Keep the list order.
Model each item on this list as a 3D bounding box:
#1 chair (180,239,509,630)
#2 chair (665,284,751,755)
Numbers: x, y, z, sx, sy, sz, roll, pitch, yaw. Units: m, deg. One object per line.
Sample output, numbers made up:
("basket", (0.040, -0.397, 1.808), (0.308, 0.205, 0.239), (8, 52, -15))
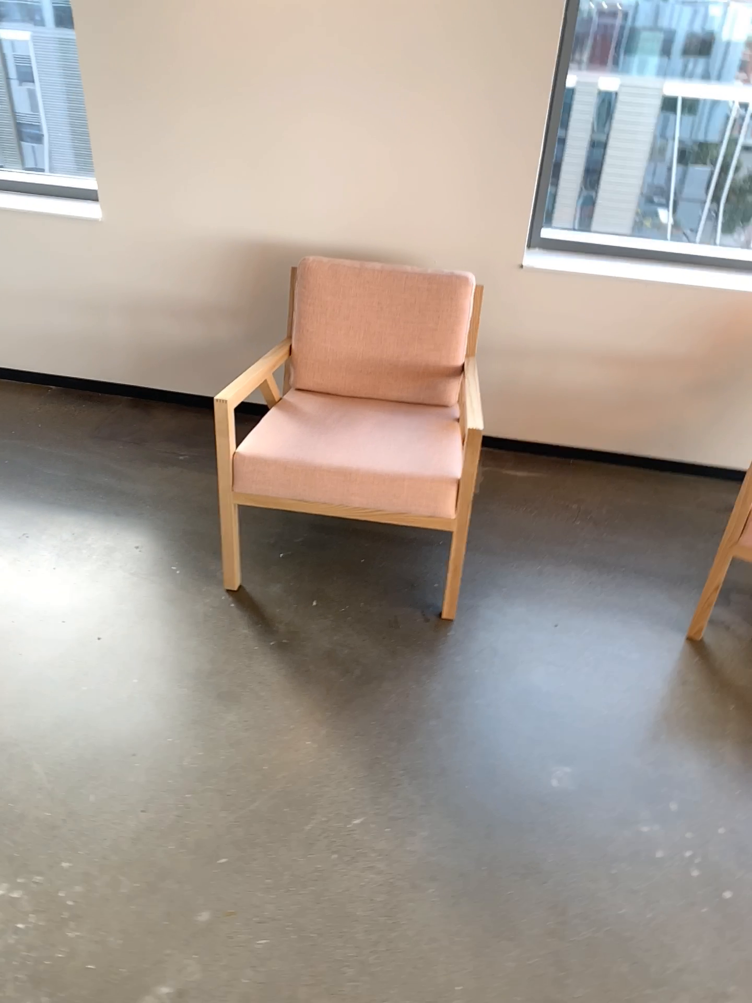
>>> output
("chair", (-0.047, -0.233, 2.290), (0.740, 0.795, 0.775), (8, 34, 7))
("chair", (1.343, -0.020, 2.062), (0.742, 0.795, 0.773), (21, 36, 24))
